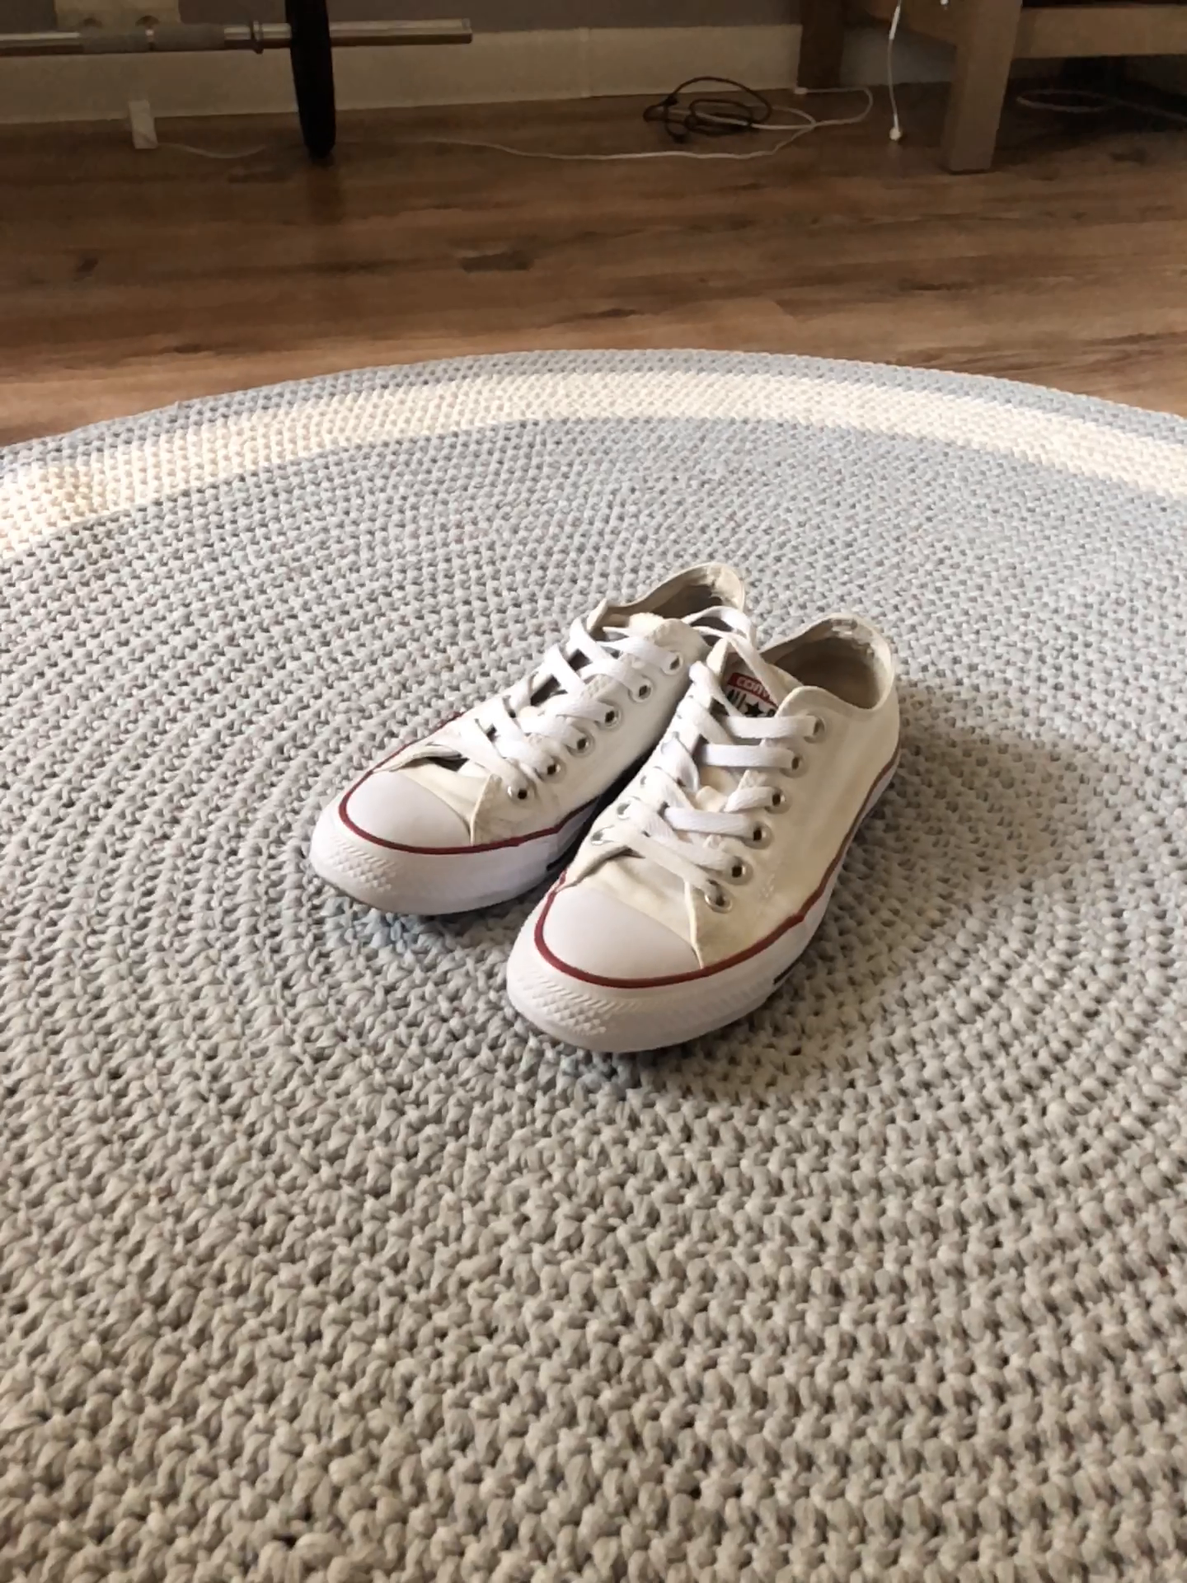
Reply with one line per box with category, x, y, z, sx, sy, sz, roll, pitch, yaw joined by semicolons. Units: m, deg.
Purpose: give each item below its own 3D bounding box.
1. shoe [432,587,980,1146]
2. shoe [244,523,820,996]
shoe;0.054;0.012;0.516;0.100;0.070;0.241;23;42;25
shoe;-0.015;-0.028;0.568;0.100;0.070;0.248;28;45;30
